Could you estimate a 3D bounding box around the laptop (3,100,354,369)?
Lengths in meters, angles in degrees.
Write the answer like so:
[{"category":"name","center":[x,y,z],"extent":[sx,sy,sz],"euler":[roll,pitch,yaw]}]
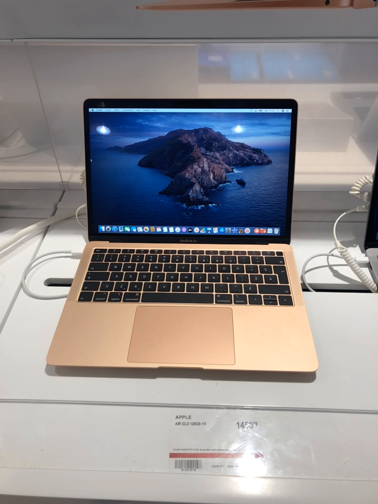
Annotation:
[{"category":"laptop","center":[-0.005,-0.041,0.513],"extent":[0.291,0.170,0.305],"euler":[1,43,2]}]
